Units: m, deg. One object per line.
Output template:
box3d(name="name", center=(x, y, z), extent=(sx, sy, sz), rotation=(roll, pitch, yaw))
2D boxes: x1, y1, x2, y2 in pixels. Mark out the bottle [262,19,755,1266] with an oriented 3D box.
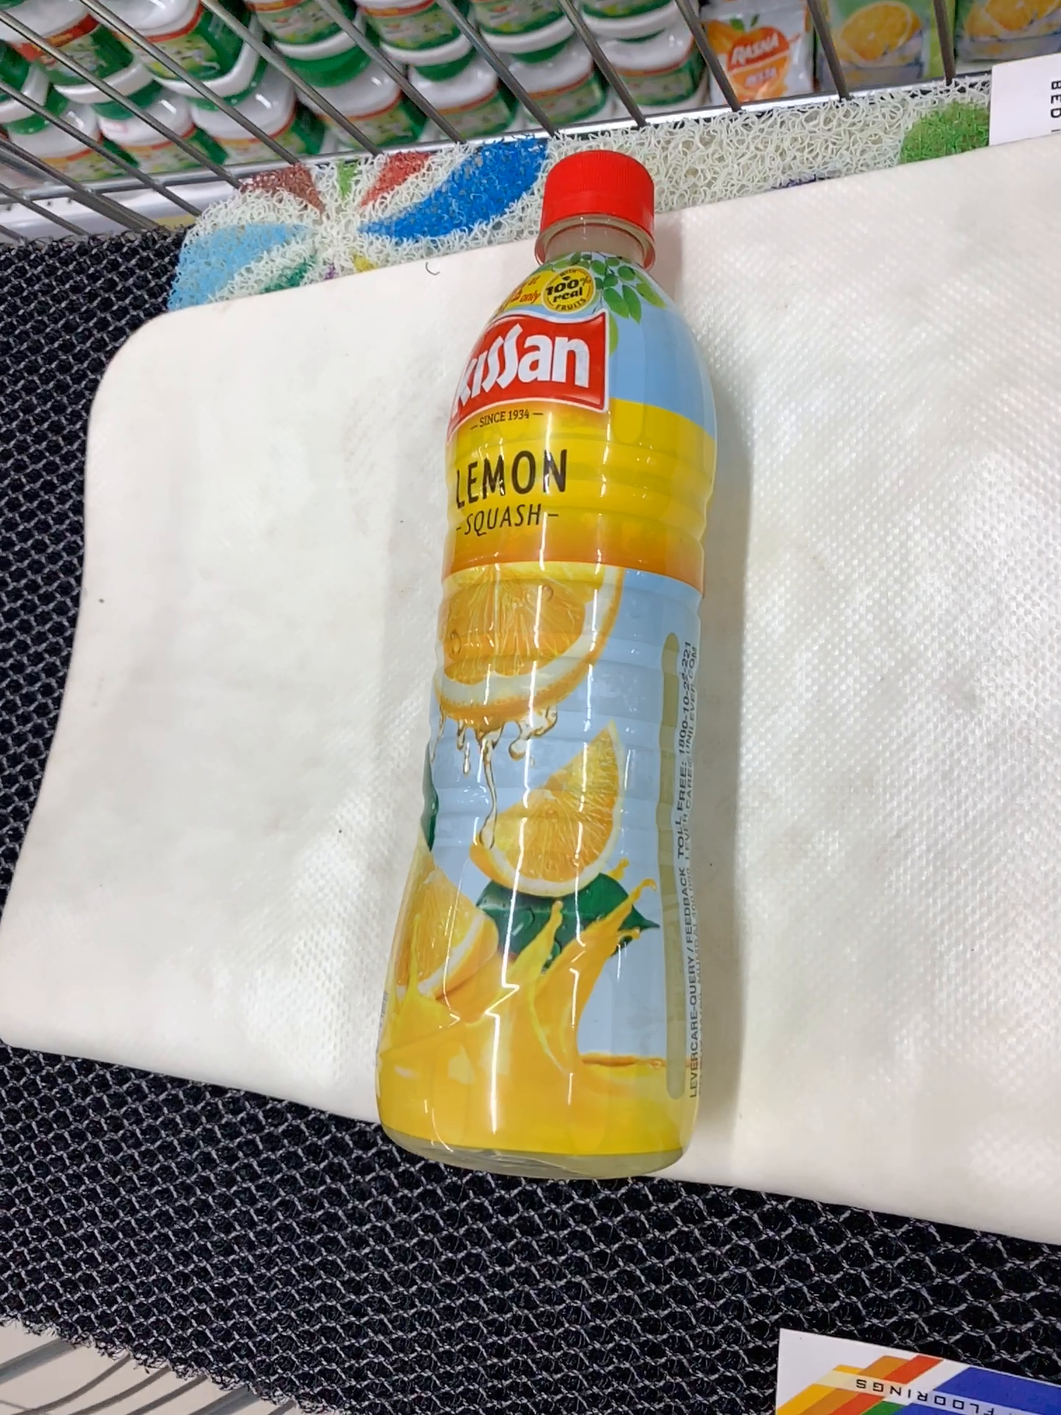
box3d(name="bottle", center=(0.003, -0.015, 0.245), extent=(0.080, 0.070, 0.230), rotation=(1, 83, 18))
